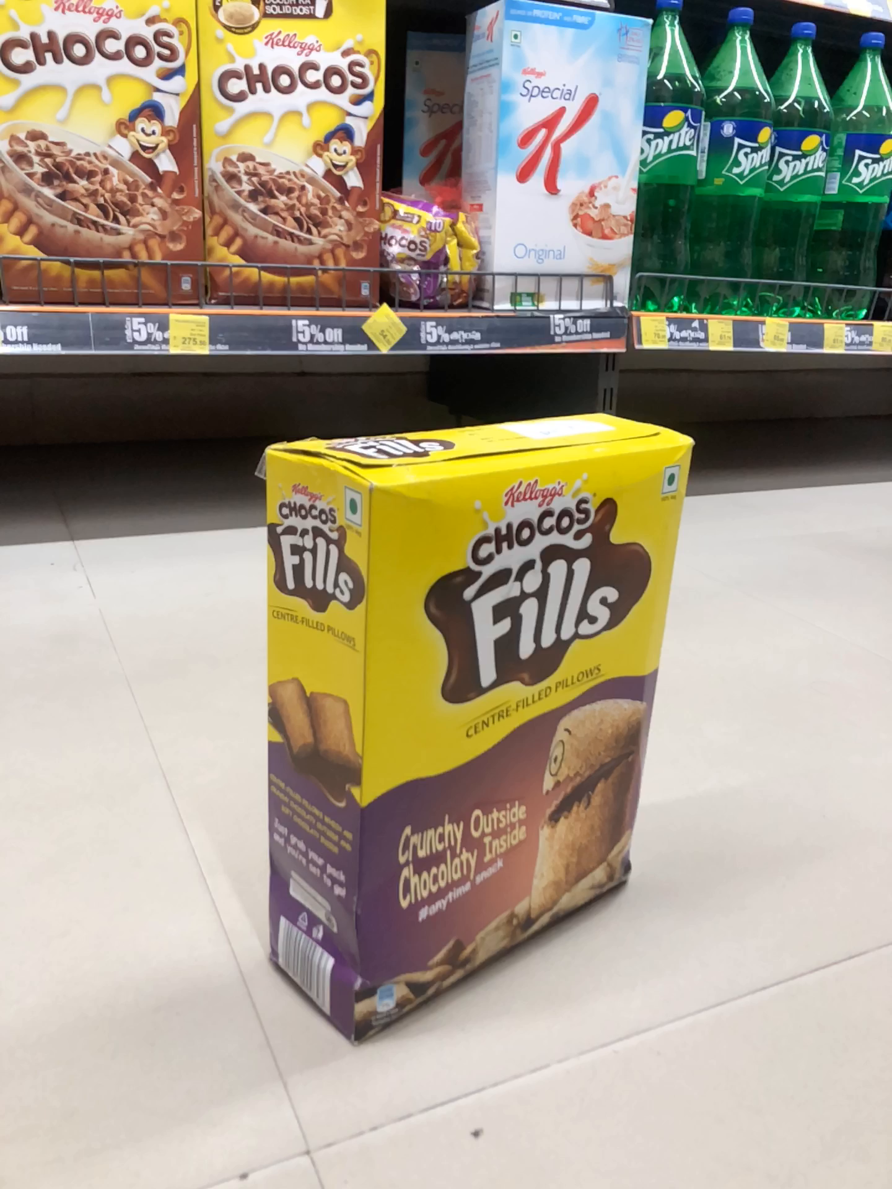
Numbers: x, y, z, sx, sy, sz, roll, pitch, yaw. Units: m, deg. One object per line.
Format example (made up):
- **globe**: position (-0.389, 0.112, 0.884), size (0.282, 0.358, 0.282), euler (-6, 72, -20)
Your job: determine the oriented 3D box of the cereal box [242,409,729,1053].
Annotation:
- **cereal box**: position (0.018, 0.042, 0.424), size (0.191, 0.219, 0.080), euler (-13, 25, -39)
